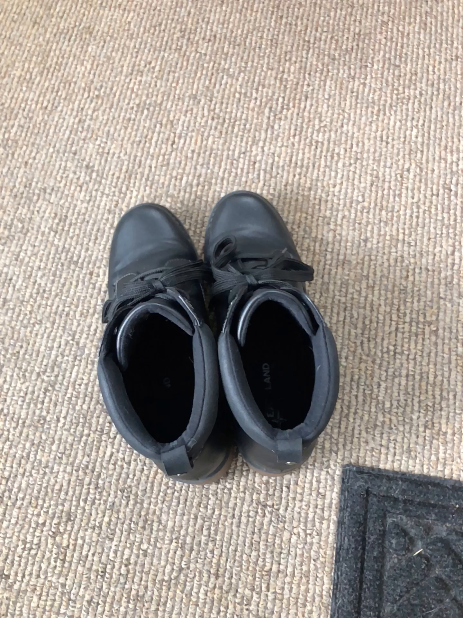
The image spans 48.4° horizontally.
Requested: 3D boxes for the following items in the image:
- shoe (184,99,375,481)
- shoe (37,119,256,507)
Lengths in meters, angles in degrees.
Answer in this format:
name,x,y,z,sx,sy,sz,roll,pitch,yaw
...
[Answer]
name,x,y,z,sx,sy,sz,roll,pitch,yaw
shoe,0.027,-0.004,0.434,0.094,0.162,0.273,-7,71,-1
shoe,-0.065,0.012,0.435,0.097,0.166,0.267,-15,72,-4
